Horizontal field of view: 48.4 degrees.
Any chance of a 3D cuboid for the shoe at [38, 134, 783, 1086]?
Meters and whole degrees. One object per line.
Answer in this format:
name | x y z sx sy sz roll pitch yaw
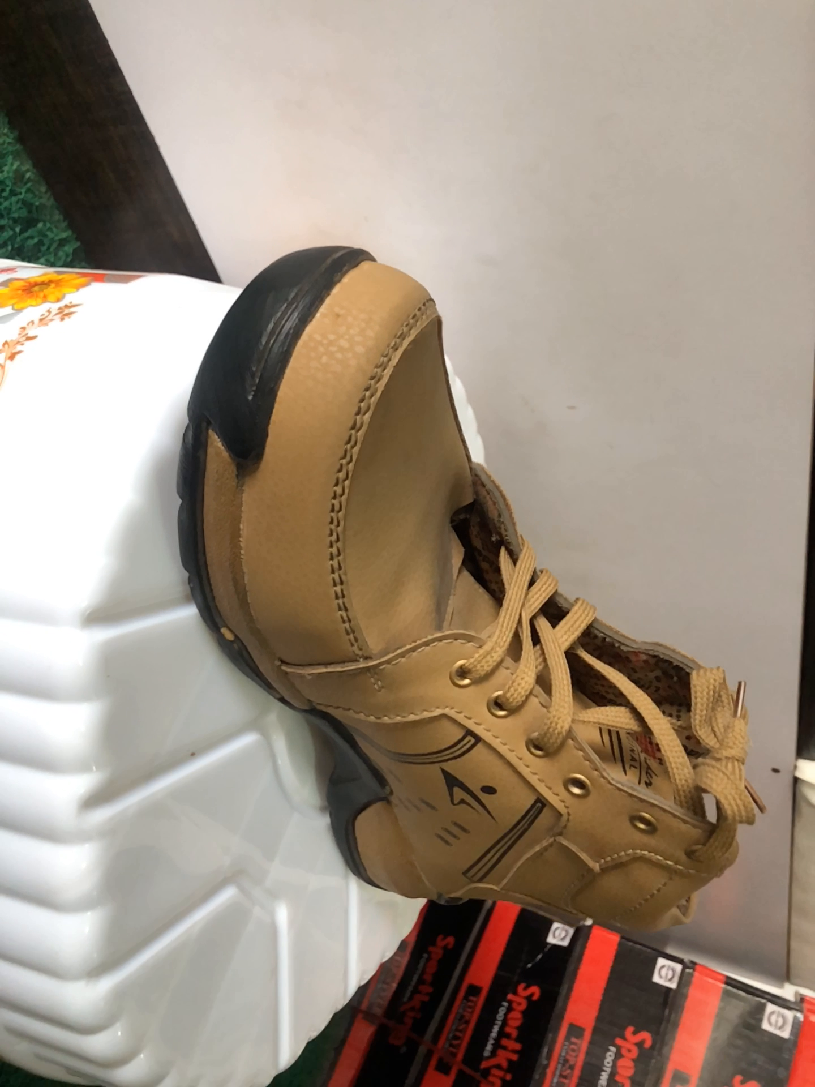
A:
shoe | 0.042 0.059 0.278 0.141 0.109 0.301 -58 144 -42
